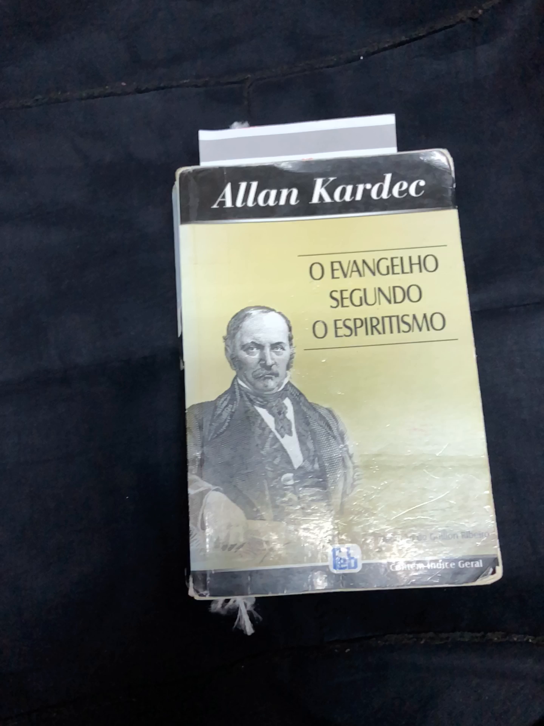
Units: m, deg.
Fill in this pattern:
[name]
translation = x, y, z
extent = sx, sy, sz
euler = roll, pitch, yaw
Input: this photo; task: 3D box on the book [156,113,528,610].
[book]
translation = 0.026, -0.003, 0.302
extent = 0.150, 0.050, 0.220
euler = -5, 79, 3
